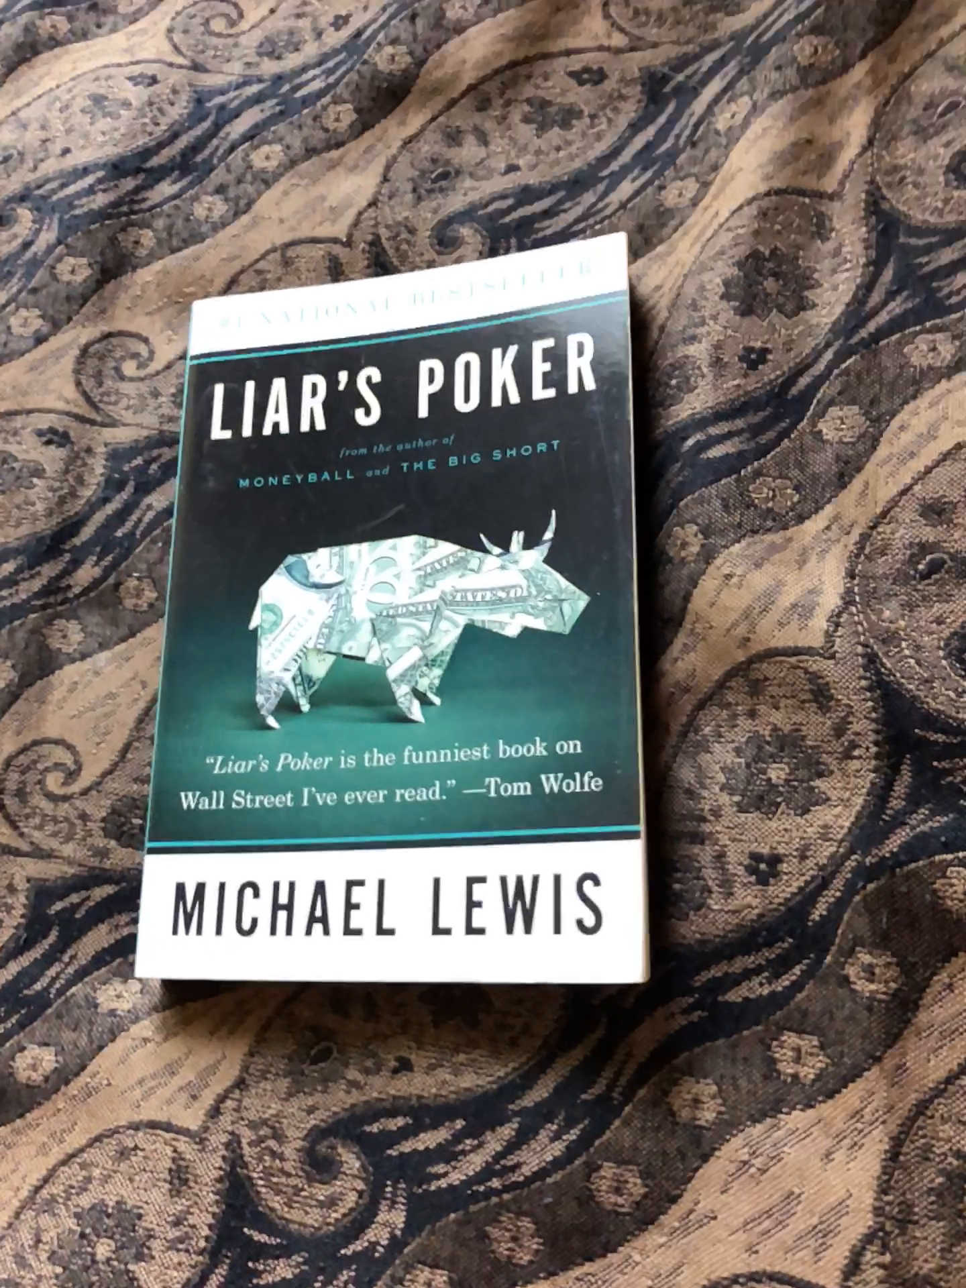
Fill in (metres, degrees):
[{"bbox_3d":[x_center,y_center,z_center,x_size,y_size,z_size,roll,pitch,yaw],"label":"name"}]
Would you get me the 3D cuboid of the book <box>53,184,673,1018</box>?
[{"bbox_3d":[-0.027,-0.013,0.298,0.150,0.040,0.210,-2,74,16],"label":"book"}]
